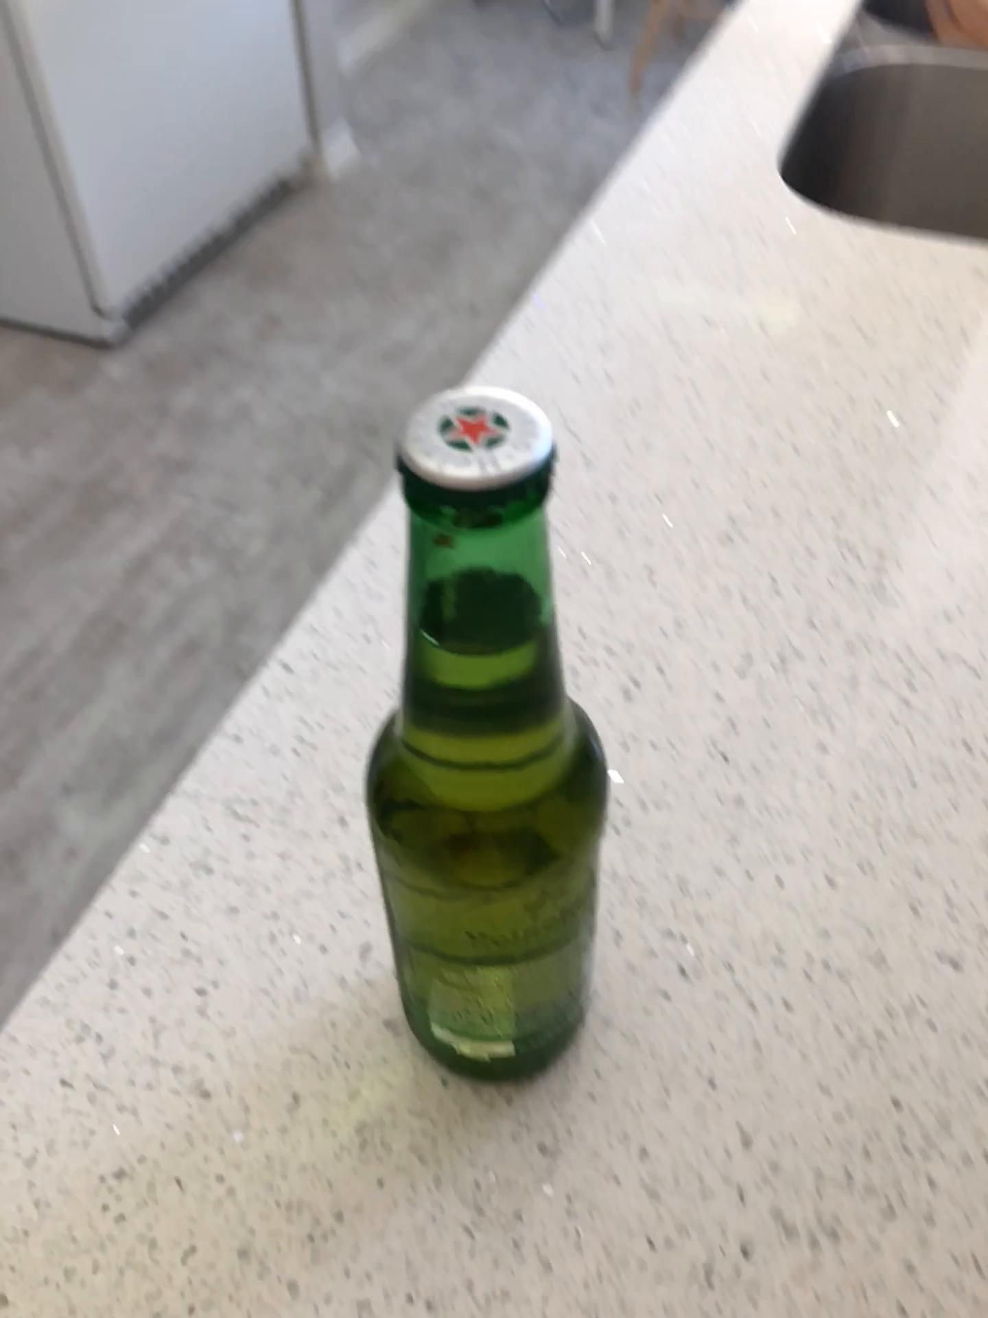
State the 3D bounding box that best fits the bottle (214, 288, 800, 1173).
[{"bbox_3d":[0.002,0.035,0.256,0.070,0.210,0.070,-1,47,1],"label":"bottle"}]
